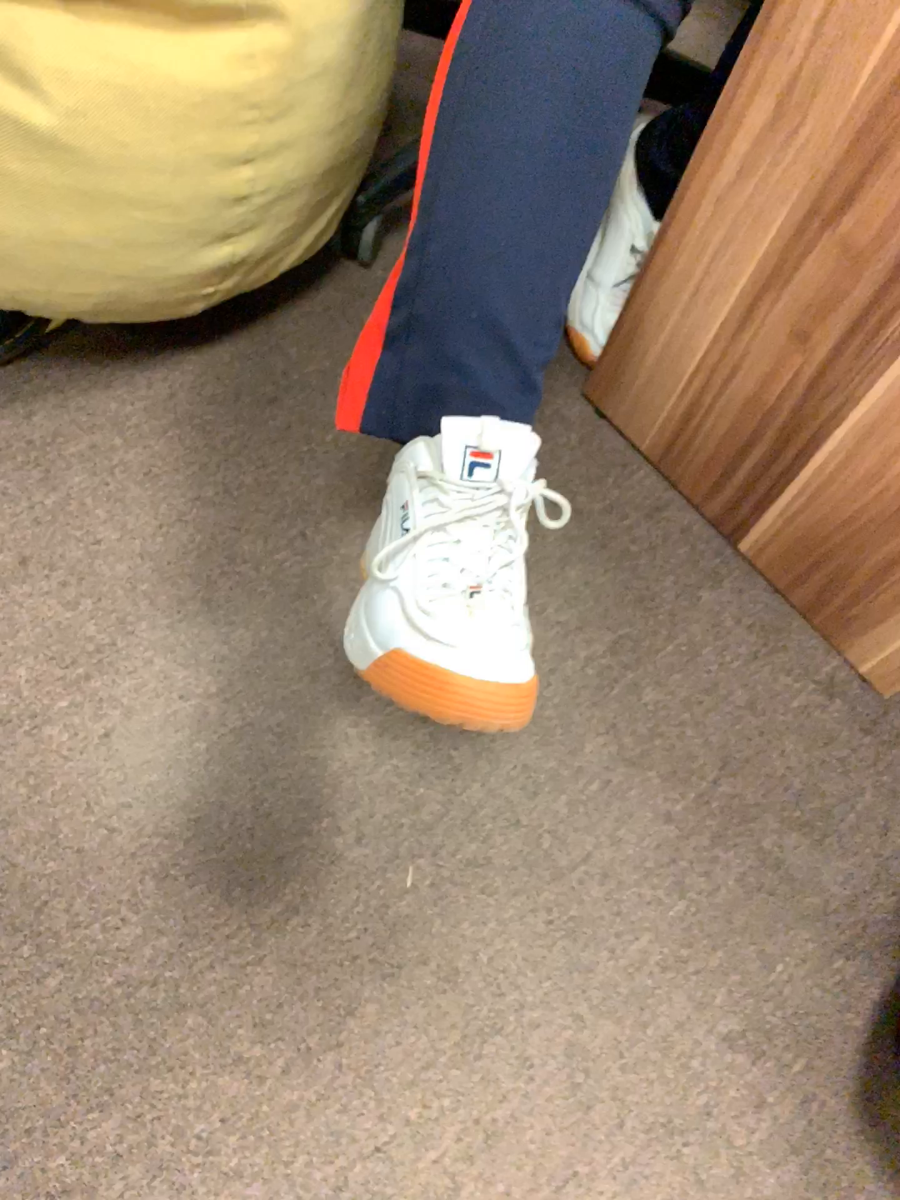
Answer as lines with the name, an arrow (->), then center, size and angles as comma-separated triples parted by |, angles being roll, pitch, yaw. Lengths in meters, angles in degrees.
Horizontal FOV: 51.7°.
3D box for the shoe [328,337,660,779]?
shoe -> 0.007, -0.034, 0.551 | 0.130, 0.130, 0.230 | 11, 36, -15
